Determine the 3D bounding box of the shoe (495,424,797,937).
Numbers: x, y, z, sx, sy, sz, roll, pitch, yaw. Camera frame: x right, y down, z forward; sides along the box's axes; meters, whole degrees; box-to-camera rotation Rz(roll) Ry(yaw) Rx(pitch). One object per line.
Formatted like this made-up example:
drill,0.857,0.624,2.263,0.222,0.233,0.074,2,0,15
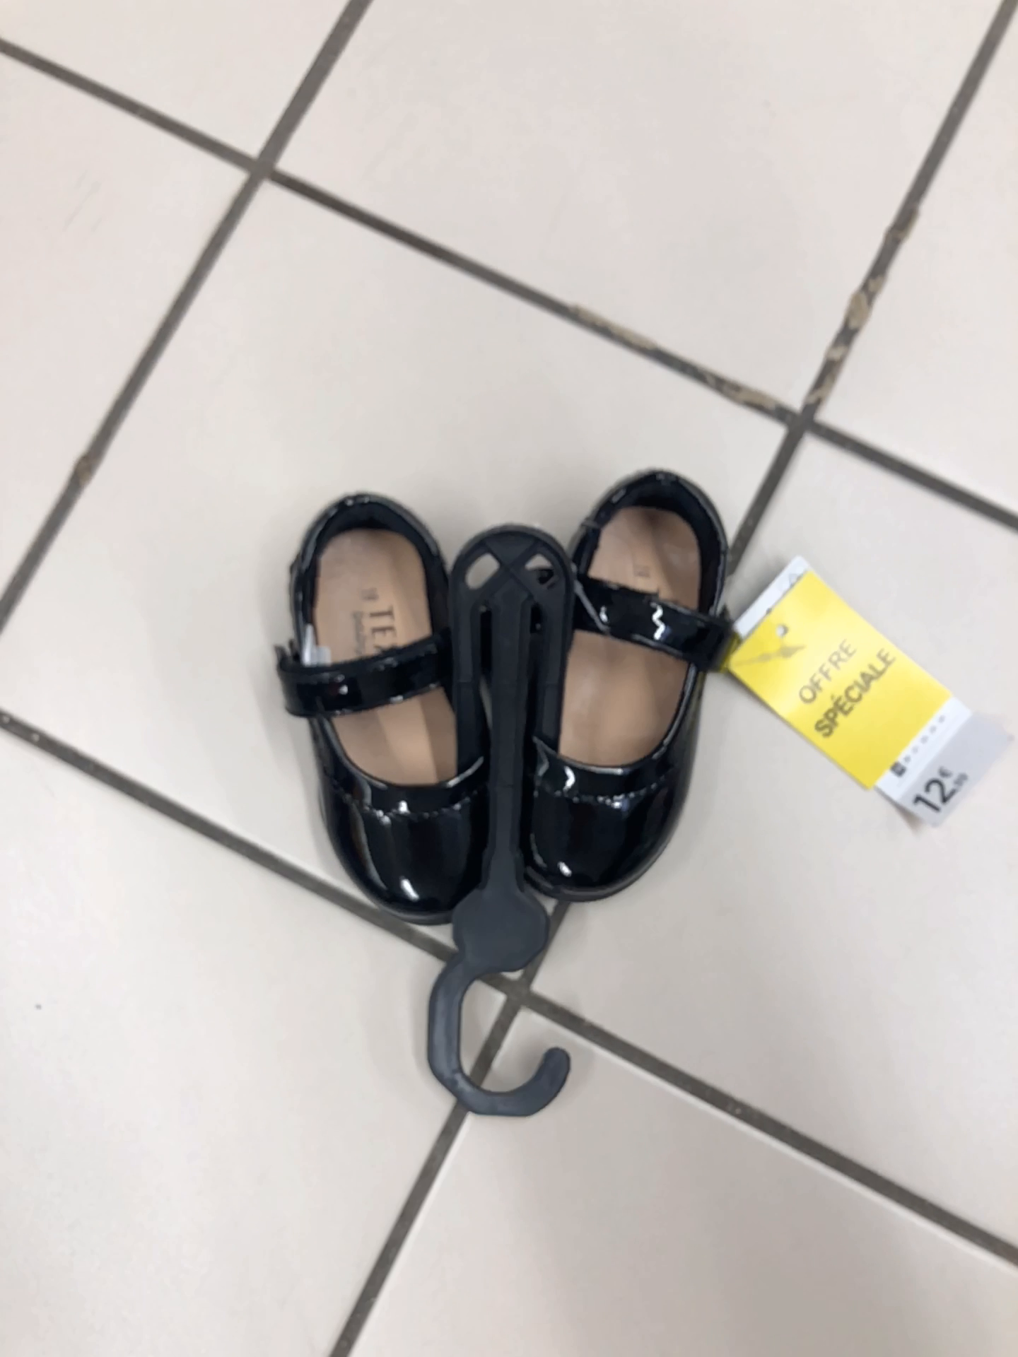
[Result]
shoe,0.038,0.002,0.327,0.059,0.048,0.130,10,81,3

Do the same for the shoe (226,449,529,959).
shoe,-0.036,0.008,0.324,0.059,0.048,0.127,-11,81,0
